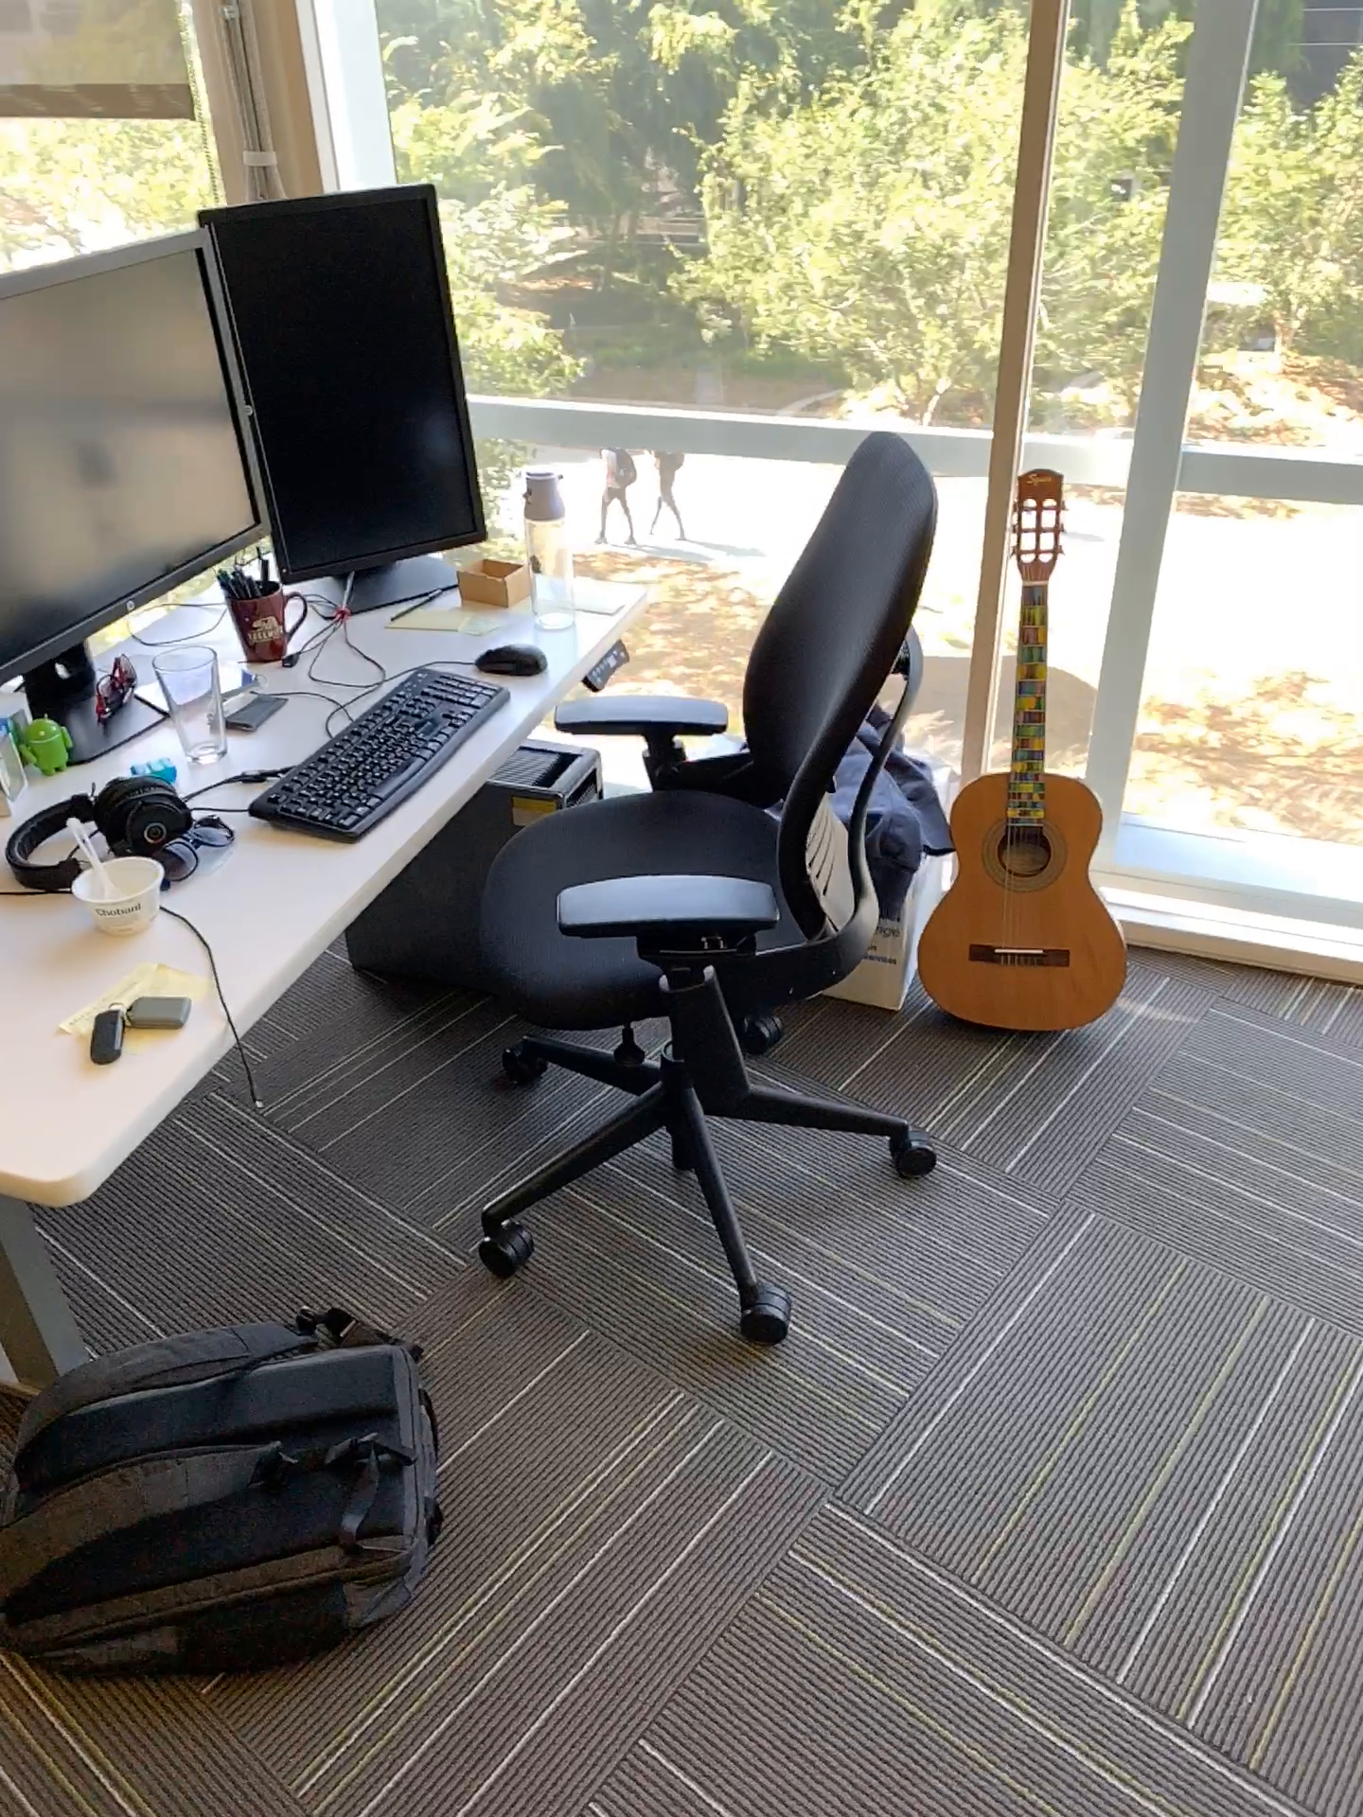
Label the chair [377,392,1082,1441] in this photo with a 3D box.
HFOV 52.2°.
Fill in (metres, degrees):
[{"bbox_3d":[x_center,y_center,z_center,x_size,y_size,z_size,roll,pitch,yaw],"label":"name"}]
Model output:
[{"bbox_3d":[0.020,0.009,1.967,0.690,1.223,0.714,-6,33,-6],"label":"chair"}]
